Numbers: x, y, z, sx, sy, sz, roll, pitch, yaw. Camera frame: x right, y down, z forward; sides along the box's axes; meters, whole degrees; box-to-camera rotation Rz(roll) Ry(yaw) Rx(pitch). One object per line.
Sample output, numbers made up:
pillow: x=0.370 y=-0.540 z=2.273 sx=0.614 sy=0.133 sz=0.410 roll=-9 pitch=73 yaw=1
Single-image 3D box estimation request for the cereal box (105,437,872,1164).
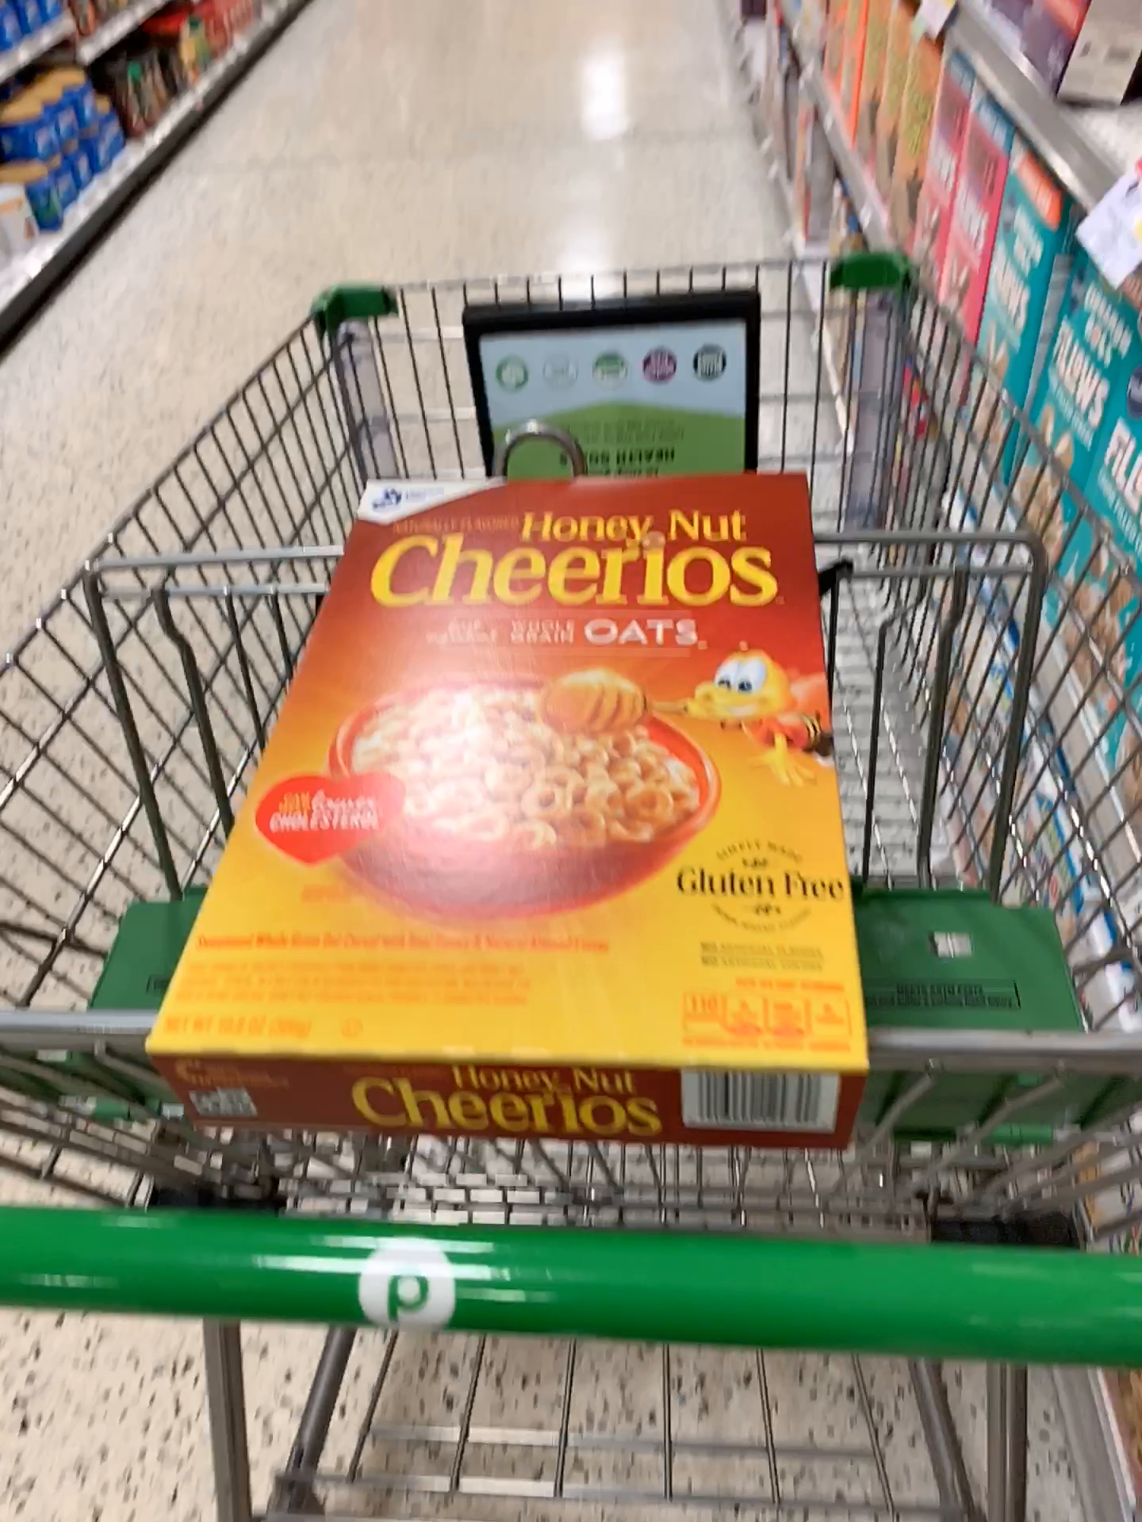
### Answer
cereal box: x=-0.011 y=-0.011 z=0.424 sx=0.200 sy=0.059 sz=0.293 roll=0 pitch=45 yaw=7
